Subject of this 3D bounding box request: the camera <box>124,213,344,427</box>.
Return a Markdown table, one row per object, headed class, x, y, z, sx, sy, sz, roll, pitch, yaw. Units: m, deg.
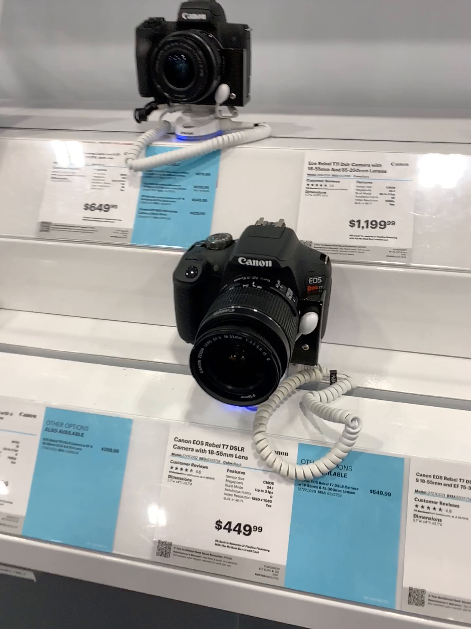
| class | x | y | z | sx | sy | sz | roll | pitch | yaw |
| --- | --- | --- | --- | --- | --- | --- | --- | --- | --- |
| camera | 0.008 | -0.007 | 0.369 | 0.130 | 0.090 | 0.151 | 4 | 30 | 7 |
